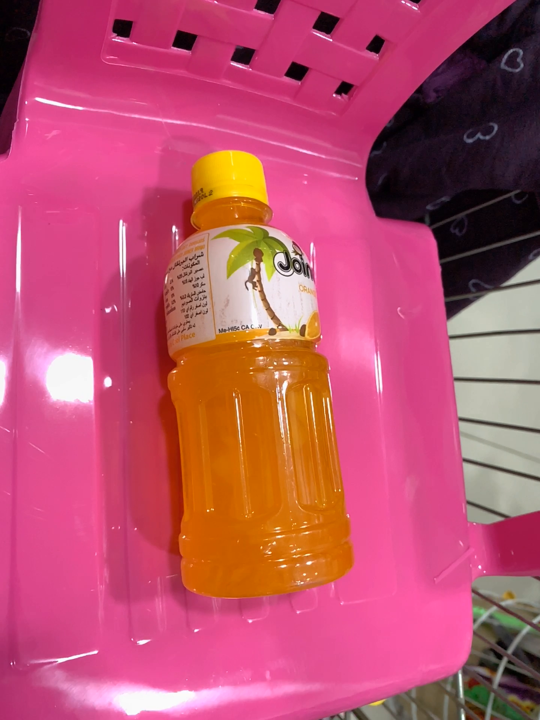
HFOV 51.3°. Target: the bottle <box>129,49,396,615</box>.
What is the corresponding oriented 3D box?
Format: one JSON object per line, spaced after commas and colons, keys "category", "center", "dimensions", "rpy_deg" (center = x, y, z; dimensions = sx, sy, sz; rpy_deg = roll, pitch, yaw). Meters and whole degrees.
{"category": "bottle", "center": [-0.003, -0.008, 0.213], "dimensions": [0.070, 0.060, 0.170], "rpy_deg": [3, 82, -48]}
